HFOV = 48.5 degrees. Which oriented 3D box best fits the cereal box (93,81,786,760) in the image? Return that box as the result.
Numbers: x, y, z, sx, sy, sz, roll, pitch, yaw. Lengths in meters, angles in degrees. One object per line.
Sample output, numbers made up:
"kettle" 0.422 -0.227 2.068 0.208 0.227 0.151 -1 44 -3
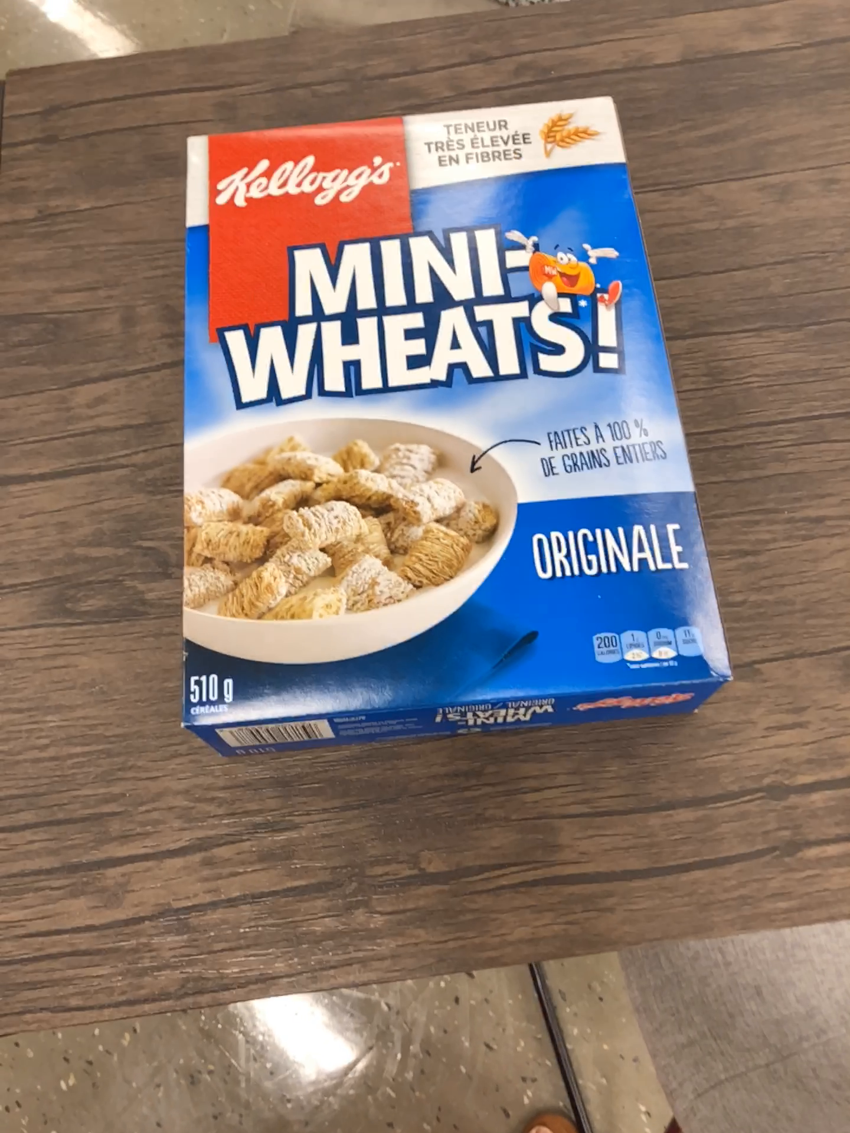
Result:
"cereal box" -0.005 -0.070 0.392 0.230 0.060 0.270 -5 67 0
